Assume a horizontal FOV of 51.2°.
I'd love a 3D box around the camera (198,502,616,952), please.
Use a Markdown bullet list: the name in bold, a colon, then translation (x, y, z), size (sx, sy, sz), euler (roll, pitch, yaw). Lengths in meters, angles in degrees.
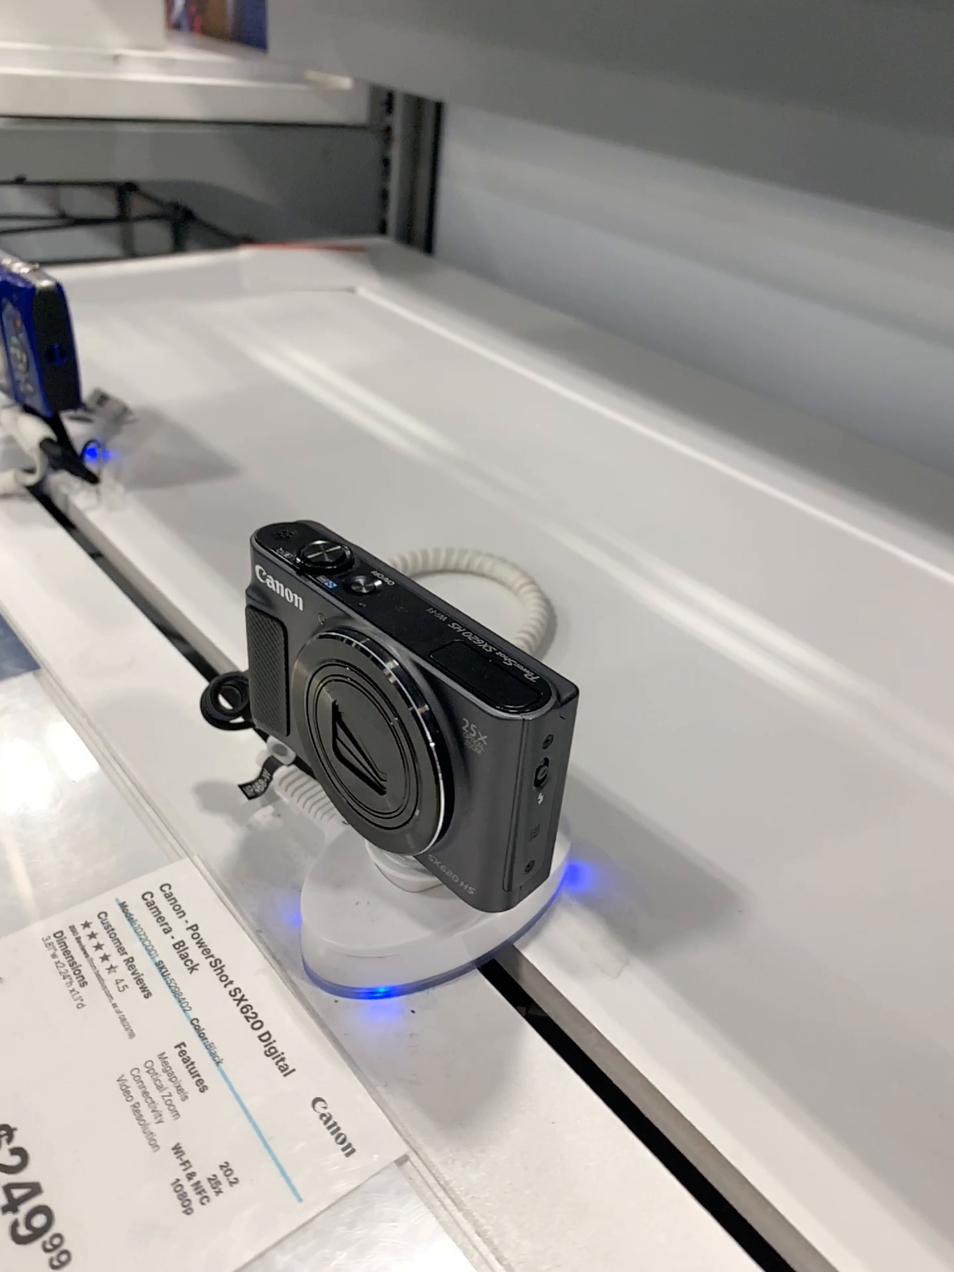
- **camera**: translation (-0.021, 0.015, 0.226), size (0.031, 0.050, 0.100), euler (-24, 45, -39)
